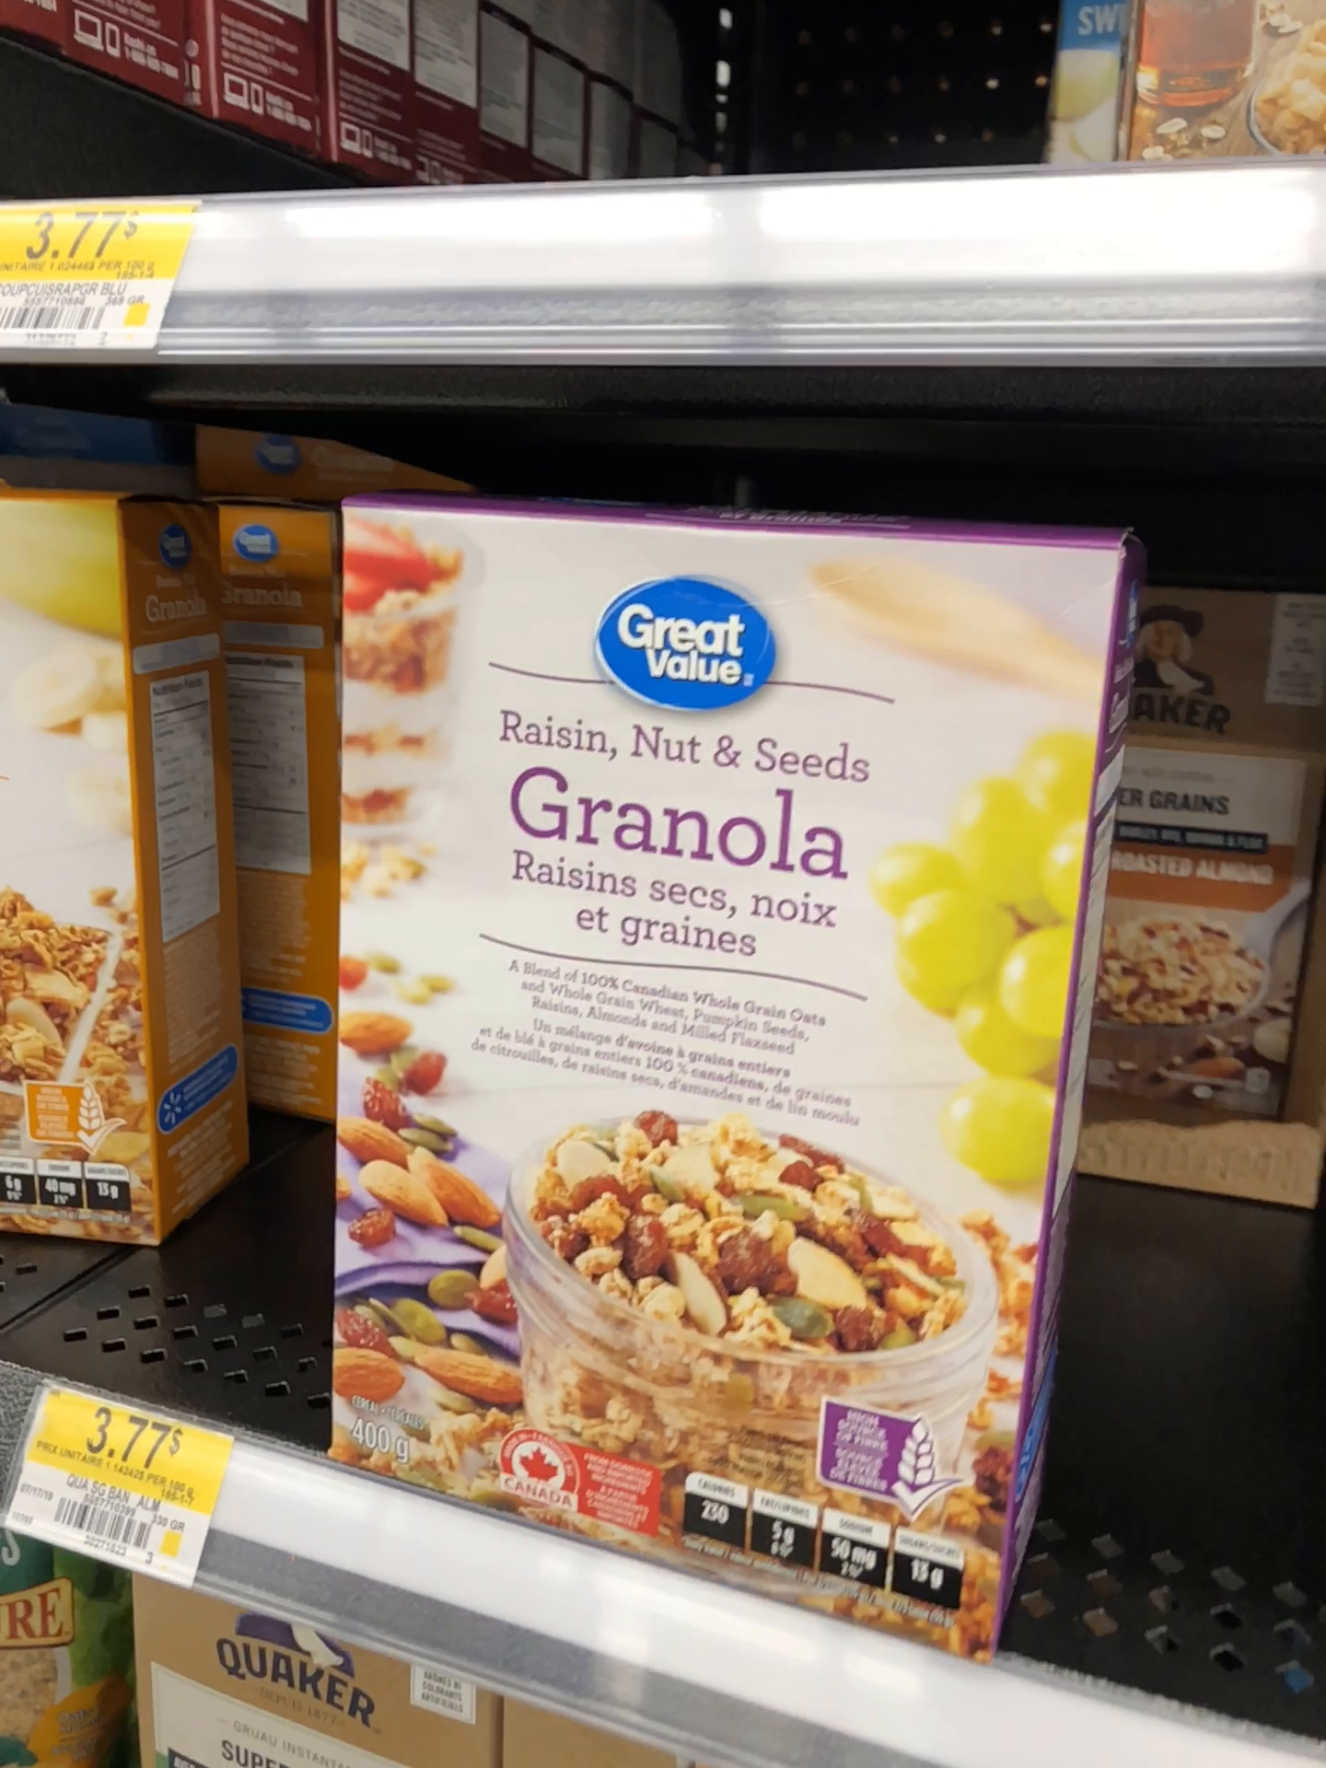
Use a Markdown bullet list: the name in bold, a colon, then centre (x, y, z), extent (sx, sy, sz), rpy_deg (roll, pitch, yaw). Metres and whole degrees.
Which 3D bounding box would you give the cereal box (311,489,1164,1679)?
- **cereal box**: centre (0.010, 0.032, 0.317), extent (0.160, 0.219, 0.060), rpy_deg (7, 13, 20)
